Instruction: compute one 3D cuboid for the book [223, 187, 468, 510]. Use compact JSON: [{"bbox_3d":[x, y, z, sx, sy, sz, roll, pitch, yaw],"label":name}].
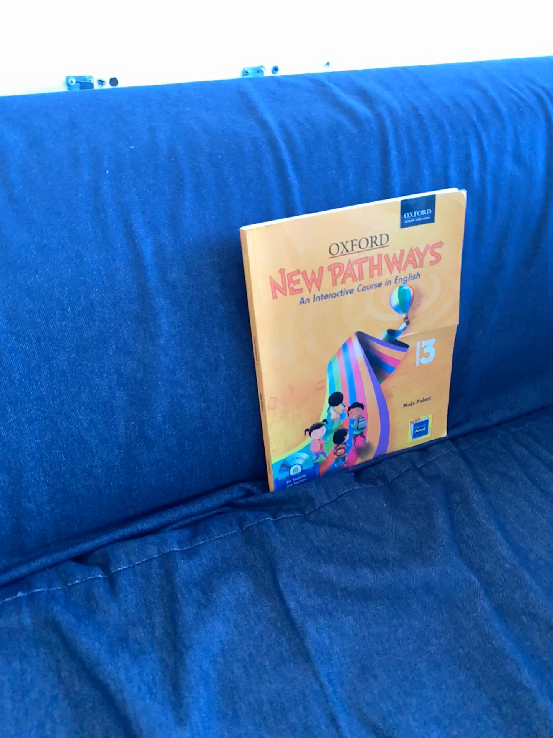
[{"bbox_3d":[0.076,-0.017,0.560,0.231,0.283,0.030,-14,27,-19],"label":"book"}]
